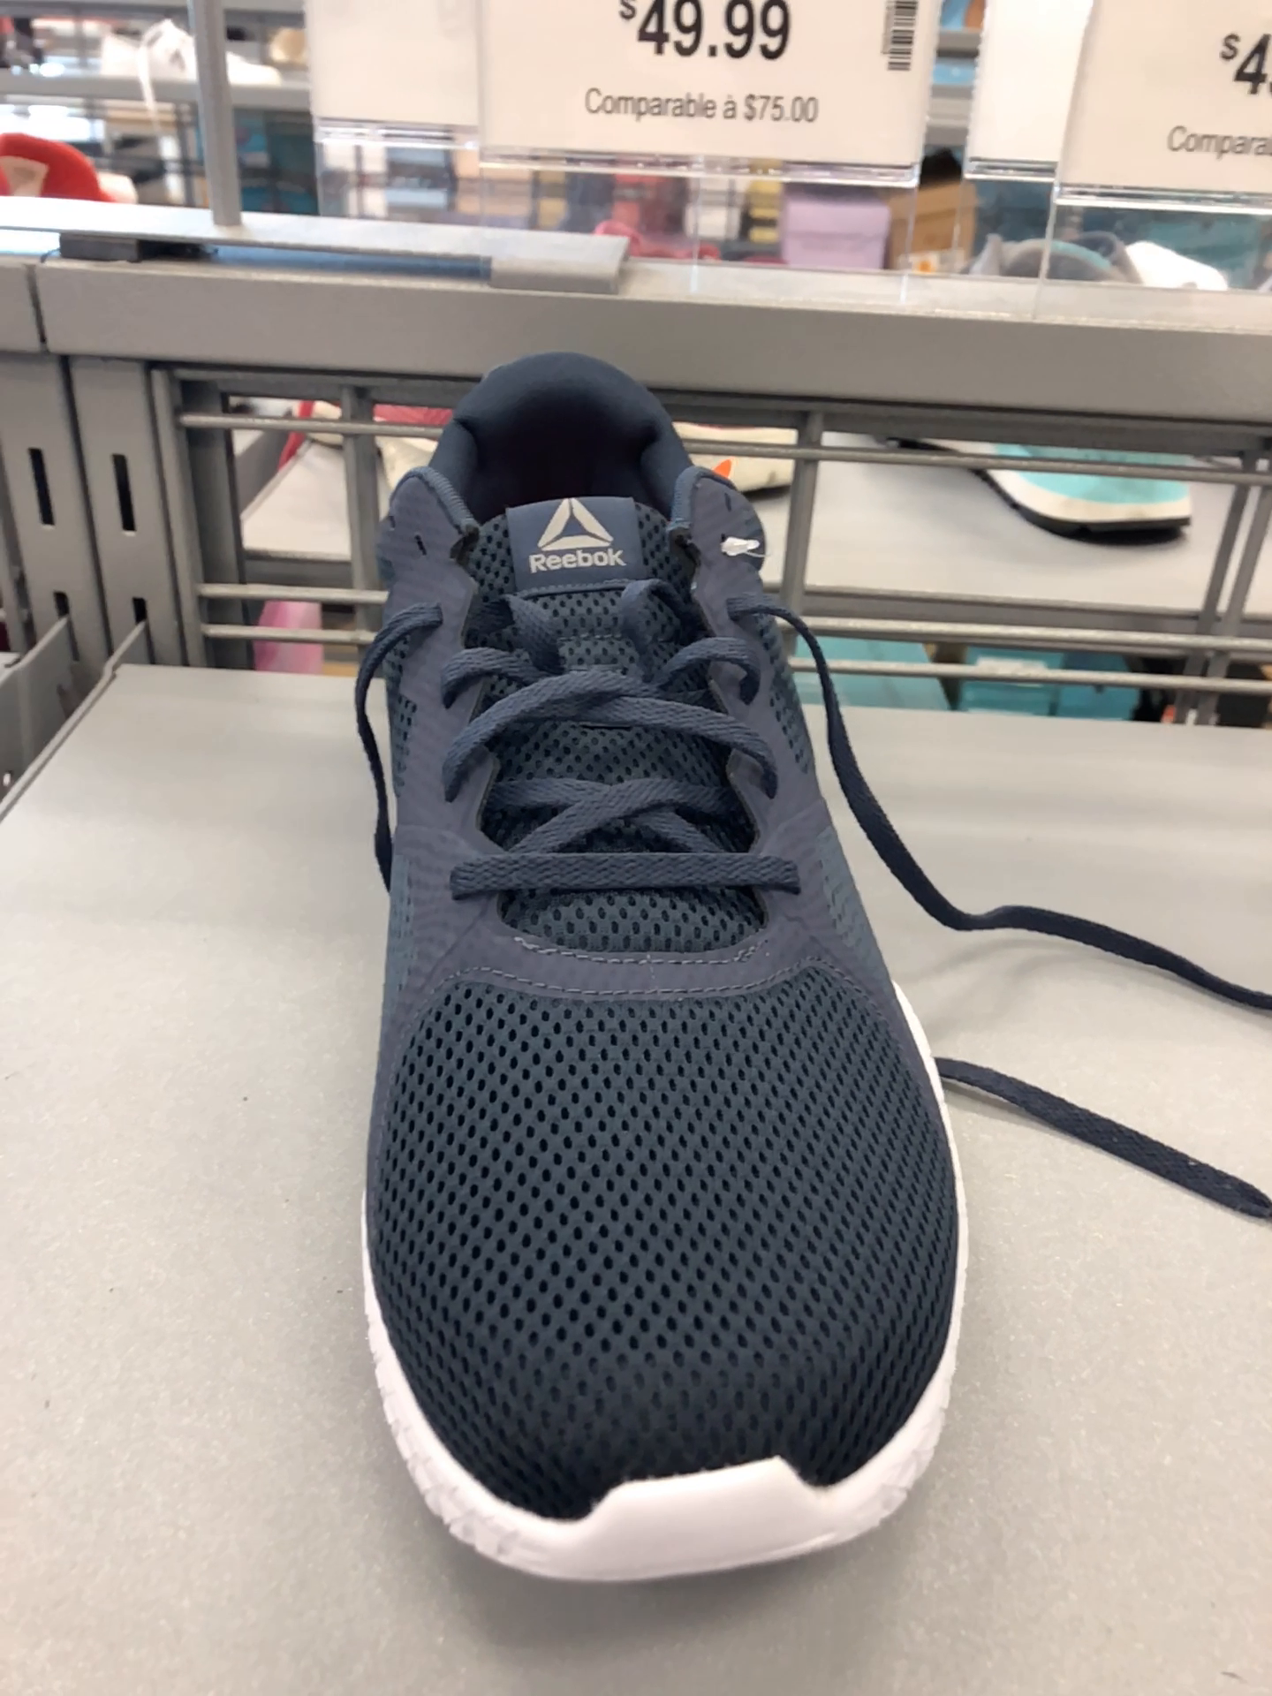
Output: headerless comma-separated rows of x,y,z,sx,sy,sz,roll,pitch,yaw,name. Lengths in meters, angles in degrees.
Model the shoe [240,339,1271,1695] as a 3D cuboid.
0.002,-0.016,0.305,0.120,0.109,0.323,-1,32,-7,shoe
